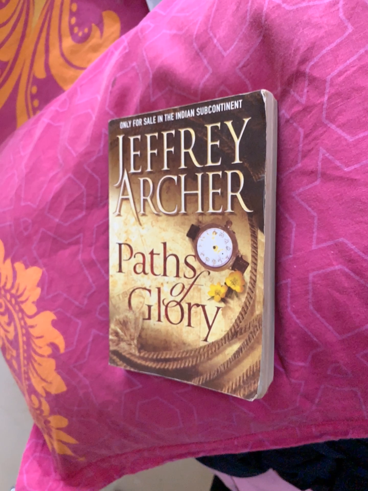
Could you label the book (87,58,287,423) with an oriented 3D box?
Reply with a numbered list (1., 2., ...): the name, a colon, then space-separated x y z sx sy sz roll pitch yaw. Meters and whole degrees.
1. book: -0.004 -0.004 0.242 0.120 0.040 0.180 3 95 35
